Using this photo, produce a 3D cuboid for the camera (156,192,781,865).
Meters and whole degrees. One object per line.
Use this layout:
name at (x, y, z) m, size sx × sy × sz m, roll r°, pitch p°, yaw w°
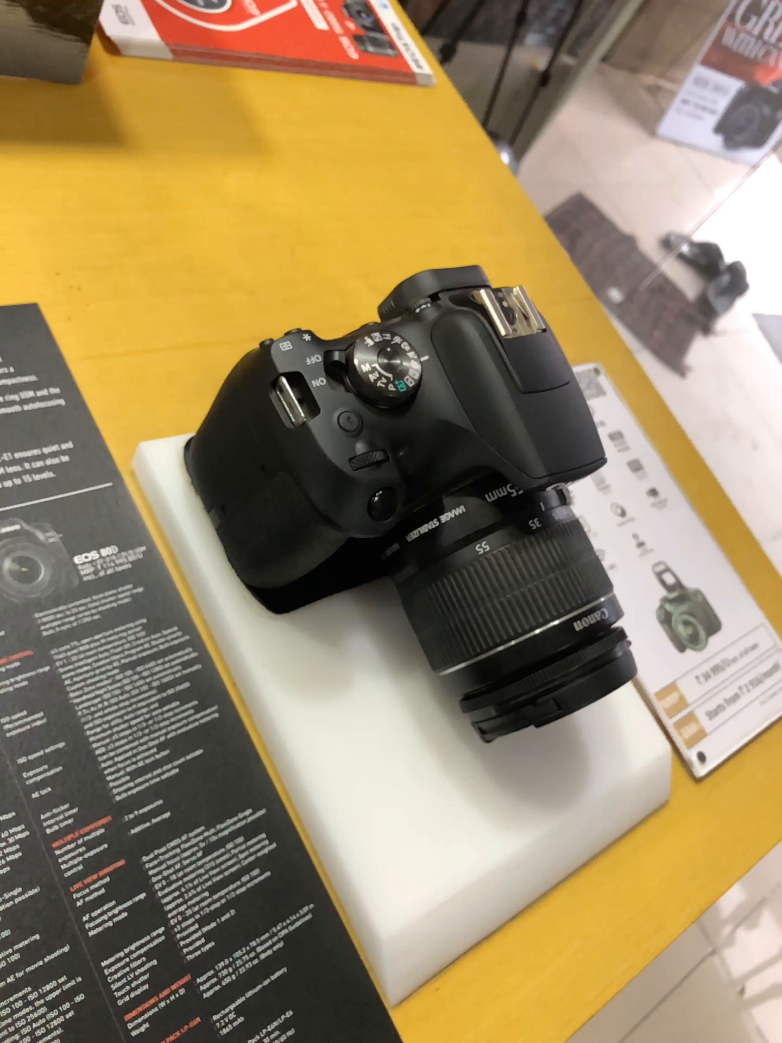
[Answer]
camera at (0.036, -0.009, 0.256) m, size 0.141 × 0.090 × 0.140 m, roll -19°, pitch 72°, yaw -38°
